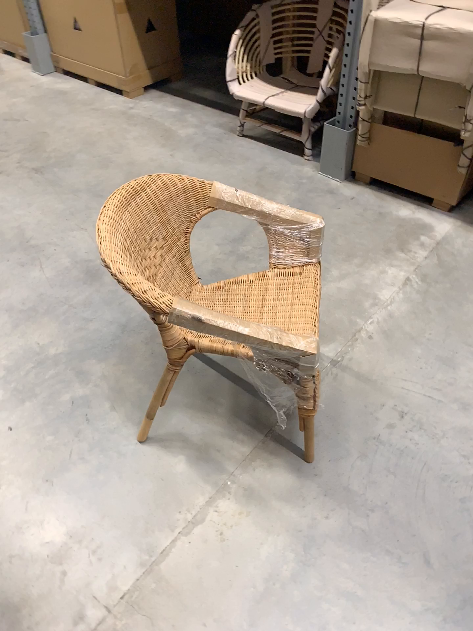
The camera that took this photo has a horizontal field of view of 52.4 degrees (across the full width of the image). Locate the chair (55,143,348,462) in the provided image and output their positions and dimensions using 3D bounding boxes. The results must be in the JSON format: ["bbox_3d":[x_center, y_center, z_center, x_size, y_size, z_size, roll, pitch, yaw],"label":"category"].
[{"bbox_3d":[-0.040,-0.035,1.528,0.650,0.757,0.602,5,45,6],"label":"chair"}]
